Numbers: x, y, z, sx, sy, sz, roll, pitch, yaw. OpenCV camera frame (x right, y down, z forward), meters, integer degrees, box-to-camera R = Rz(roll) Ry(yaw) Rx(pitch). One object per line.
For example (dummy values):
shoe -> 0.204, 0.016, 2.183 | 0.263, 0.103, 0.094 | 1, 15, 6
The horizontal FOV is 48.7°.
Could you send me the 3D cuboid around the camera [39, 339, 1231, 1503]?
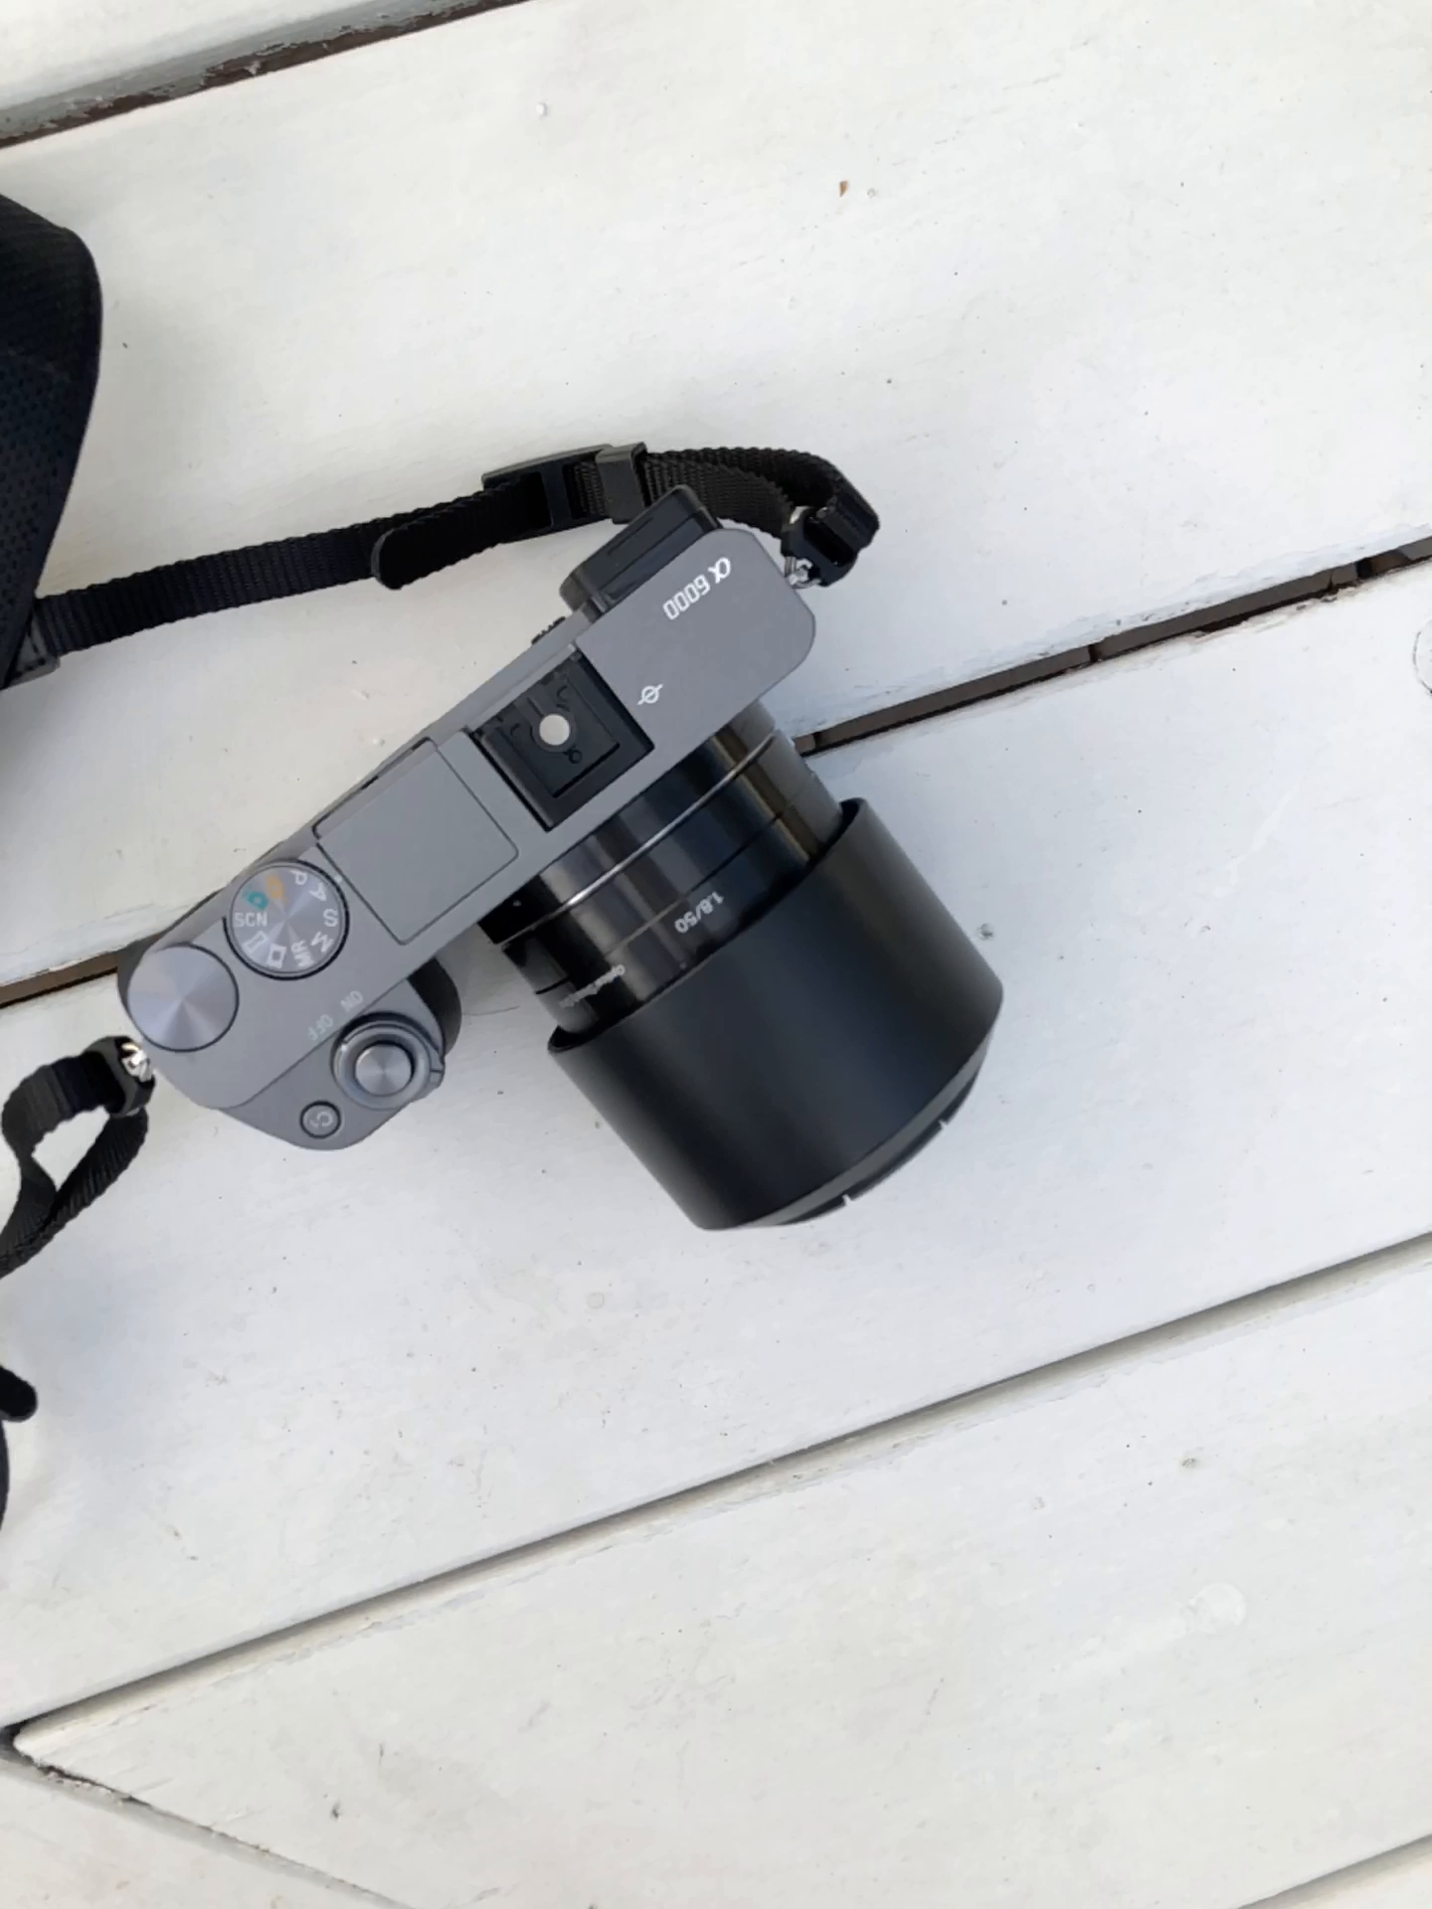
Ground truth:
camera -> -0.012, -0.006, 0.270 | 0.140, 0.070, 0.110 | -40, 100, -2
